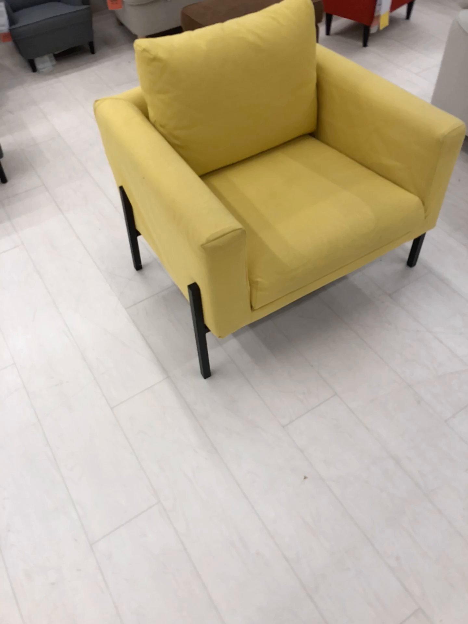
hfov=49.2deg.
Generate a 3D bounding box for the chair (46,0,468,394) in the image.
[{"bbox_3d":[0.130,-0.431,1.571,0.981,0.758,0.692,-27,54,-18],"label":"chair"}]
